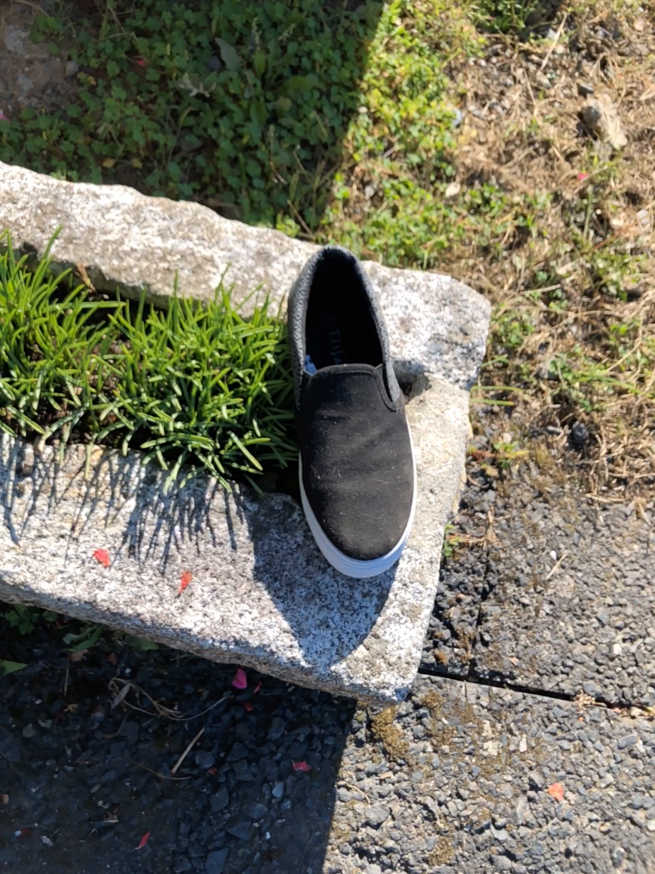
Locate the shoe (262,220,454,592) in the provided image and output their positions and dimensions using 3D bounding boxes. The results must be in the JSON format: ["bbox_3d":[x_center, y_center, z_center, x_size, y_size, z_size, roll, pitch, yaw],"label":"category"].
[{"bbox_3d":[0.013,-0.026,0.545,0.100,0.080,0.260,-5,71,-7],"label":"shoe"}]
